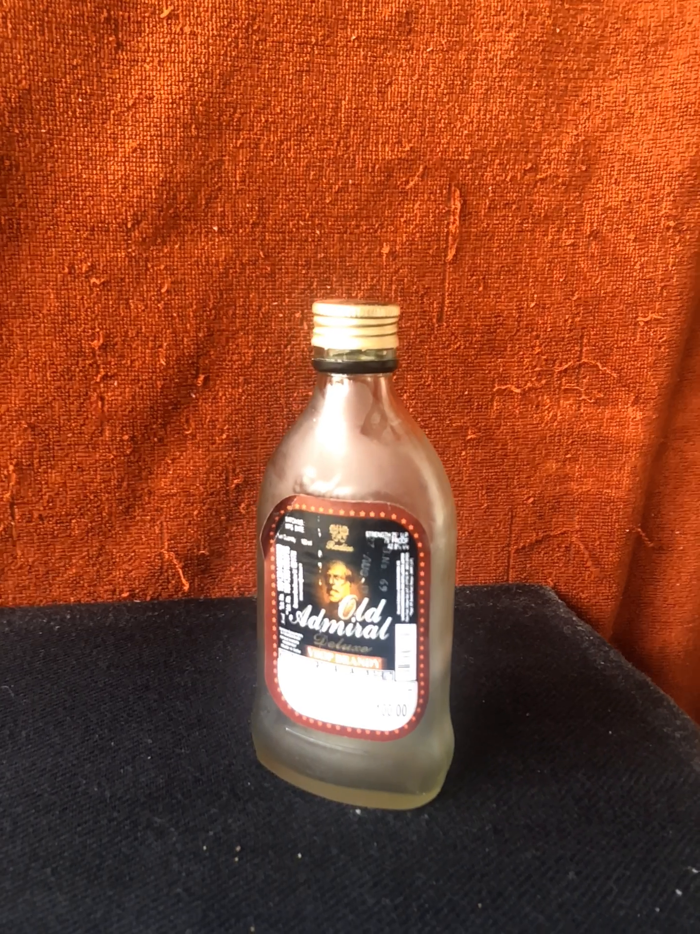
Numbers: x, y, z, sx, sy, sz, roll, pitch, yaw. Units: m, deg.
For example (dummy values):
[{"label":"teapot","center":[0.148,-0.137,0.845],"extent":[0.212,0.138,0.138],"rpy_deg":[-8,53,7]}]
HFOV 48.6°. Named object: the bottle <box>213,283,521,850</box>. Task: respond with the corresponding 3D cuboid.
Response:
[{"label":"bottle","center":[0.004,0.025,0.232],"extent":[0.070,0.149,0.050],"rpy_deg":[9,16,17]}]
